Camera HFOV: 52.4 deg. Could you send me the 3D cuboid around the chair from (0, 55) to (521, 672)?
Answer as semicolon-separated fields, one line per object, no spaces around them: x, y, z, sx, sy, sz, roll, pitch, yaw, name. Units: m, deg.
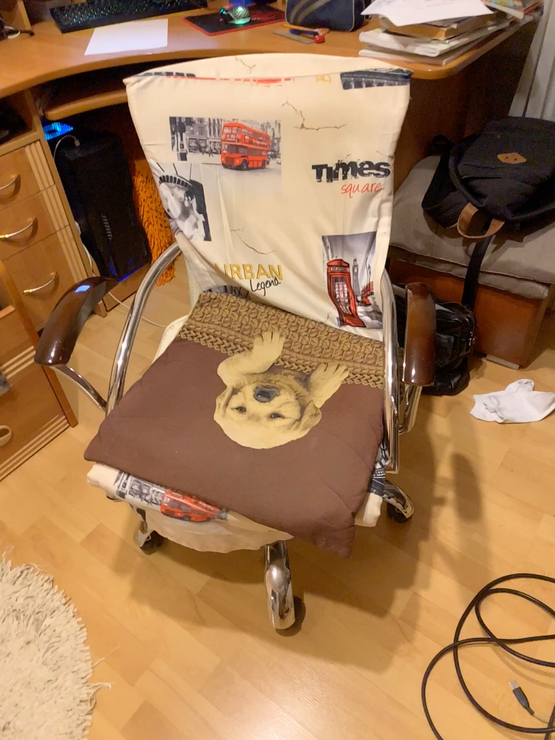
-0.015;-0.013;0.832;0.474;0.664;0.568;4;44;8;chair
